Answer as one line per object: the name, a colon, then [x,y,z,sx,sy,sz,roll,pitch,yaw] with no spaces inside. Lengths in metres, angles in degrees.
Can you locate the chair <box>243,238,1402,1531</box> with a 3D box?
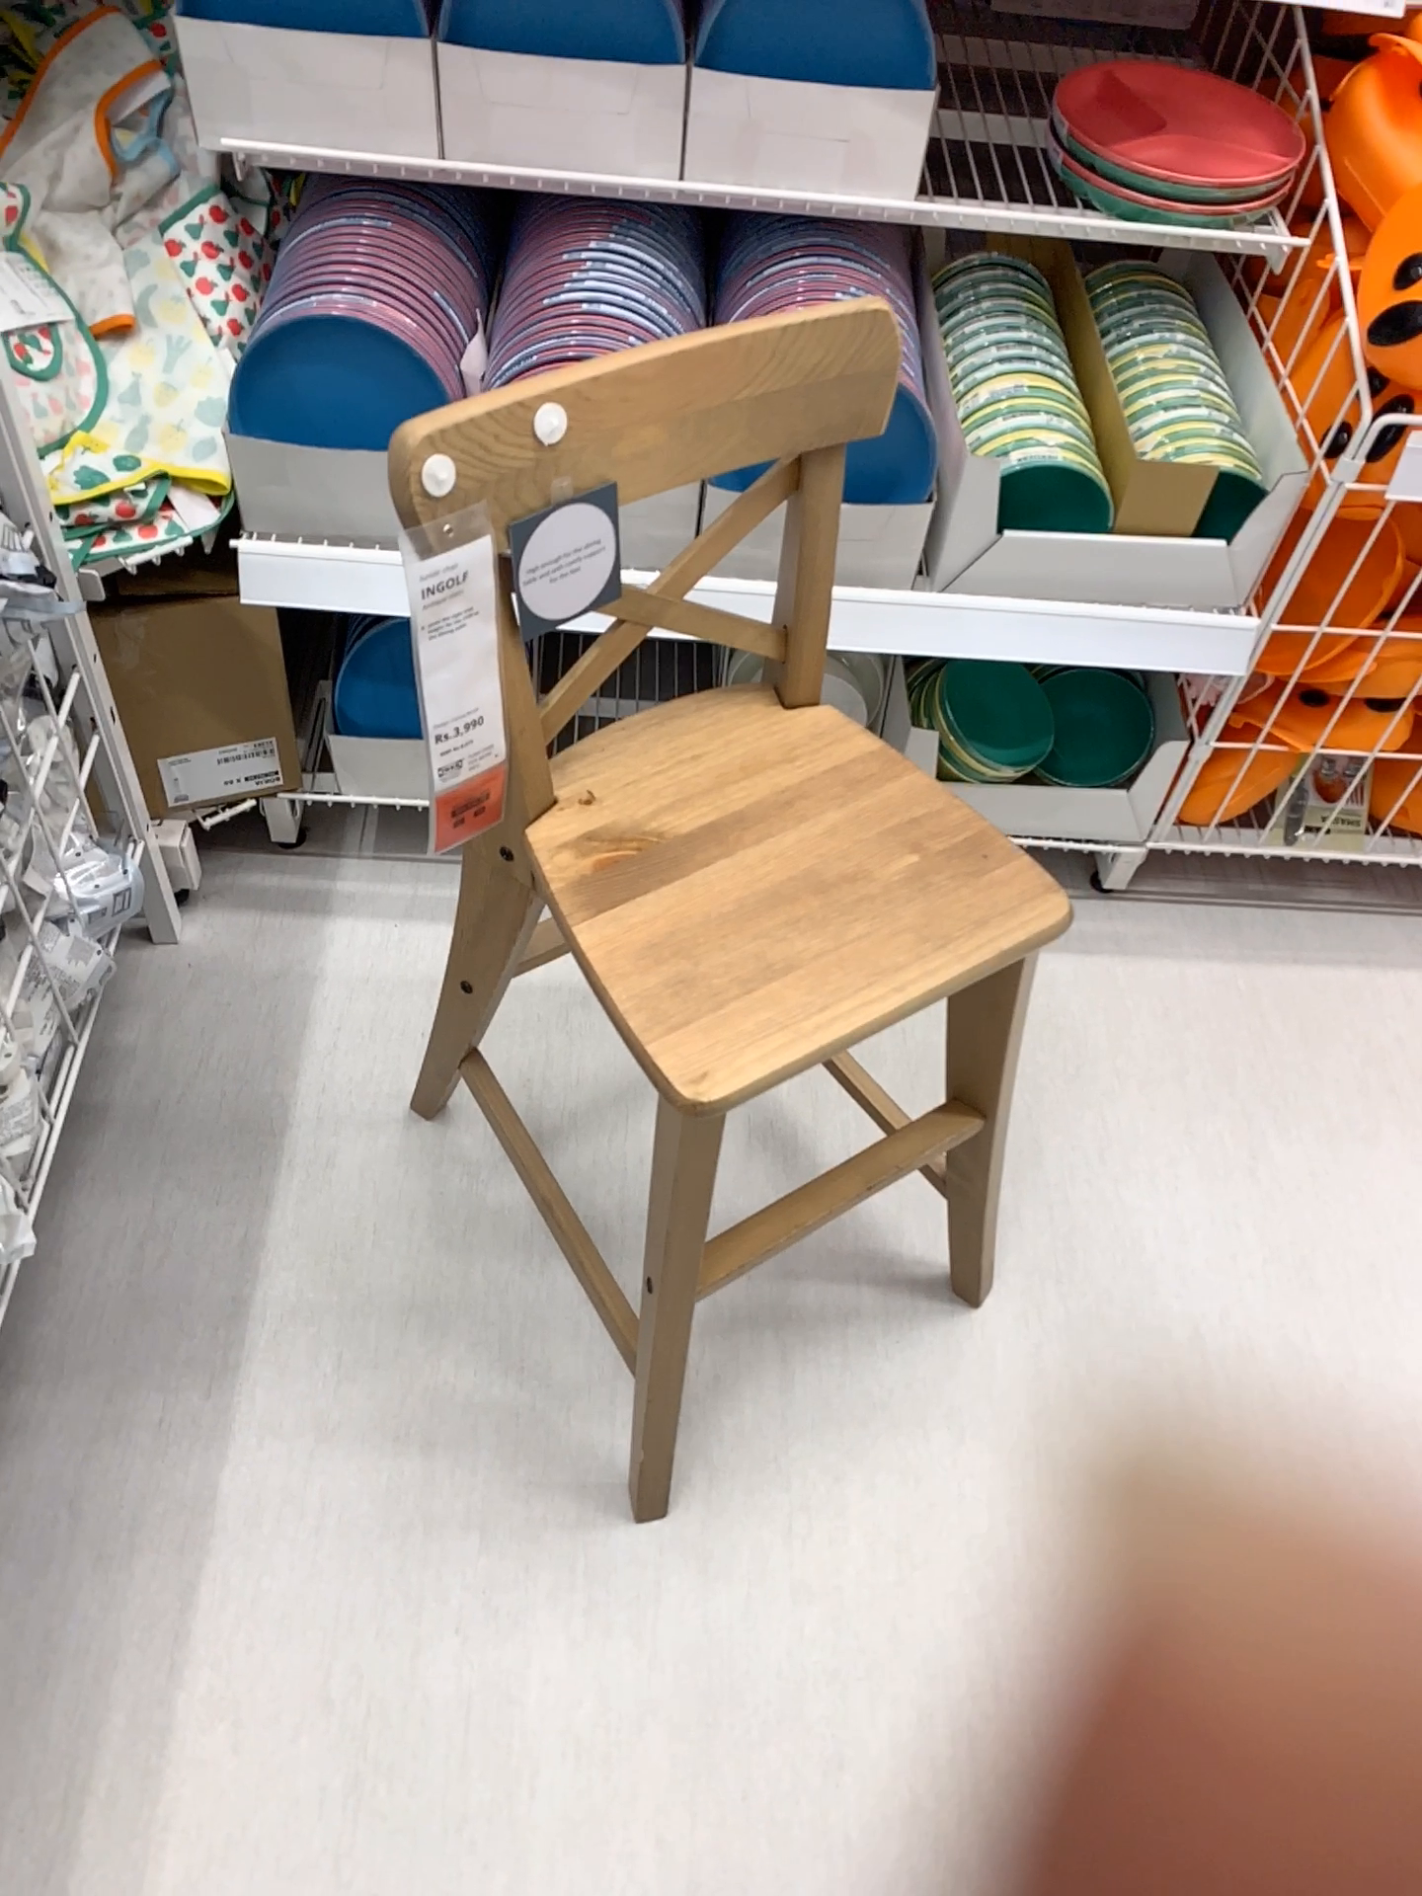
chair: [0.017,-0.002,0.997,0.381,0.688,0.461,-29,62,-25]
